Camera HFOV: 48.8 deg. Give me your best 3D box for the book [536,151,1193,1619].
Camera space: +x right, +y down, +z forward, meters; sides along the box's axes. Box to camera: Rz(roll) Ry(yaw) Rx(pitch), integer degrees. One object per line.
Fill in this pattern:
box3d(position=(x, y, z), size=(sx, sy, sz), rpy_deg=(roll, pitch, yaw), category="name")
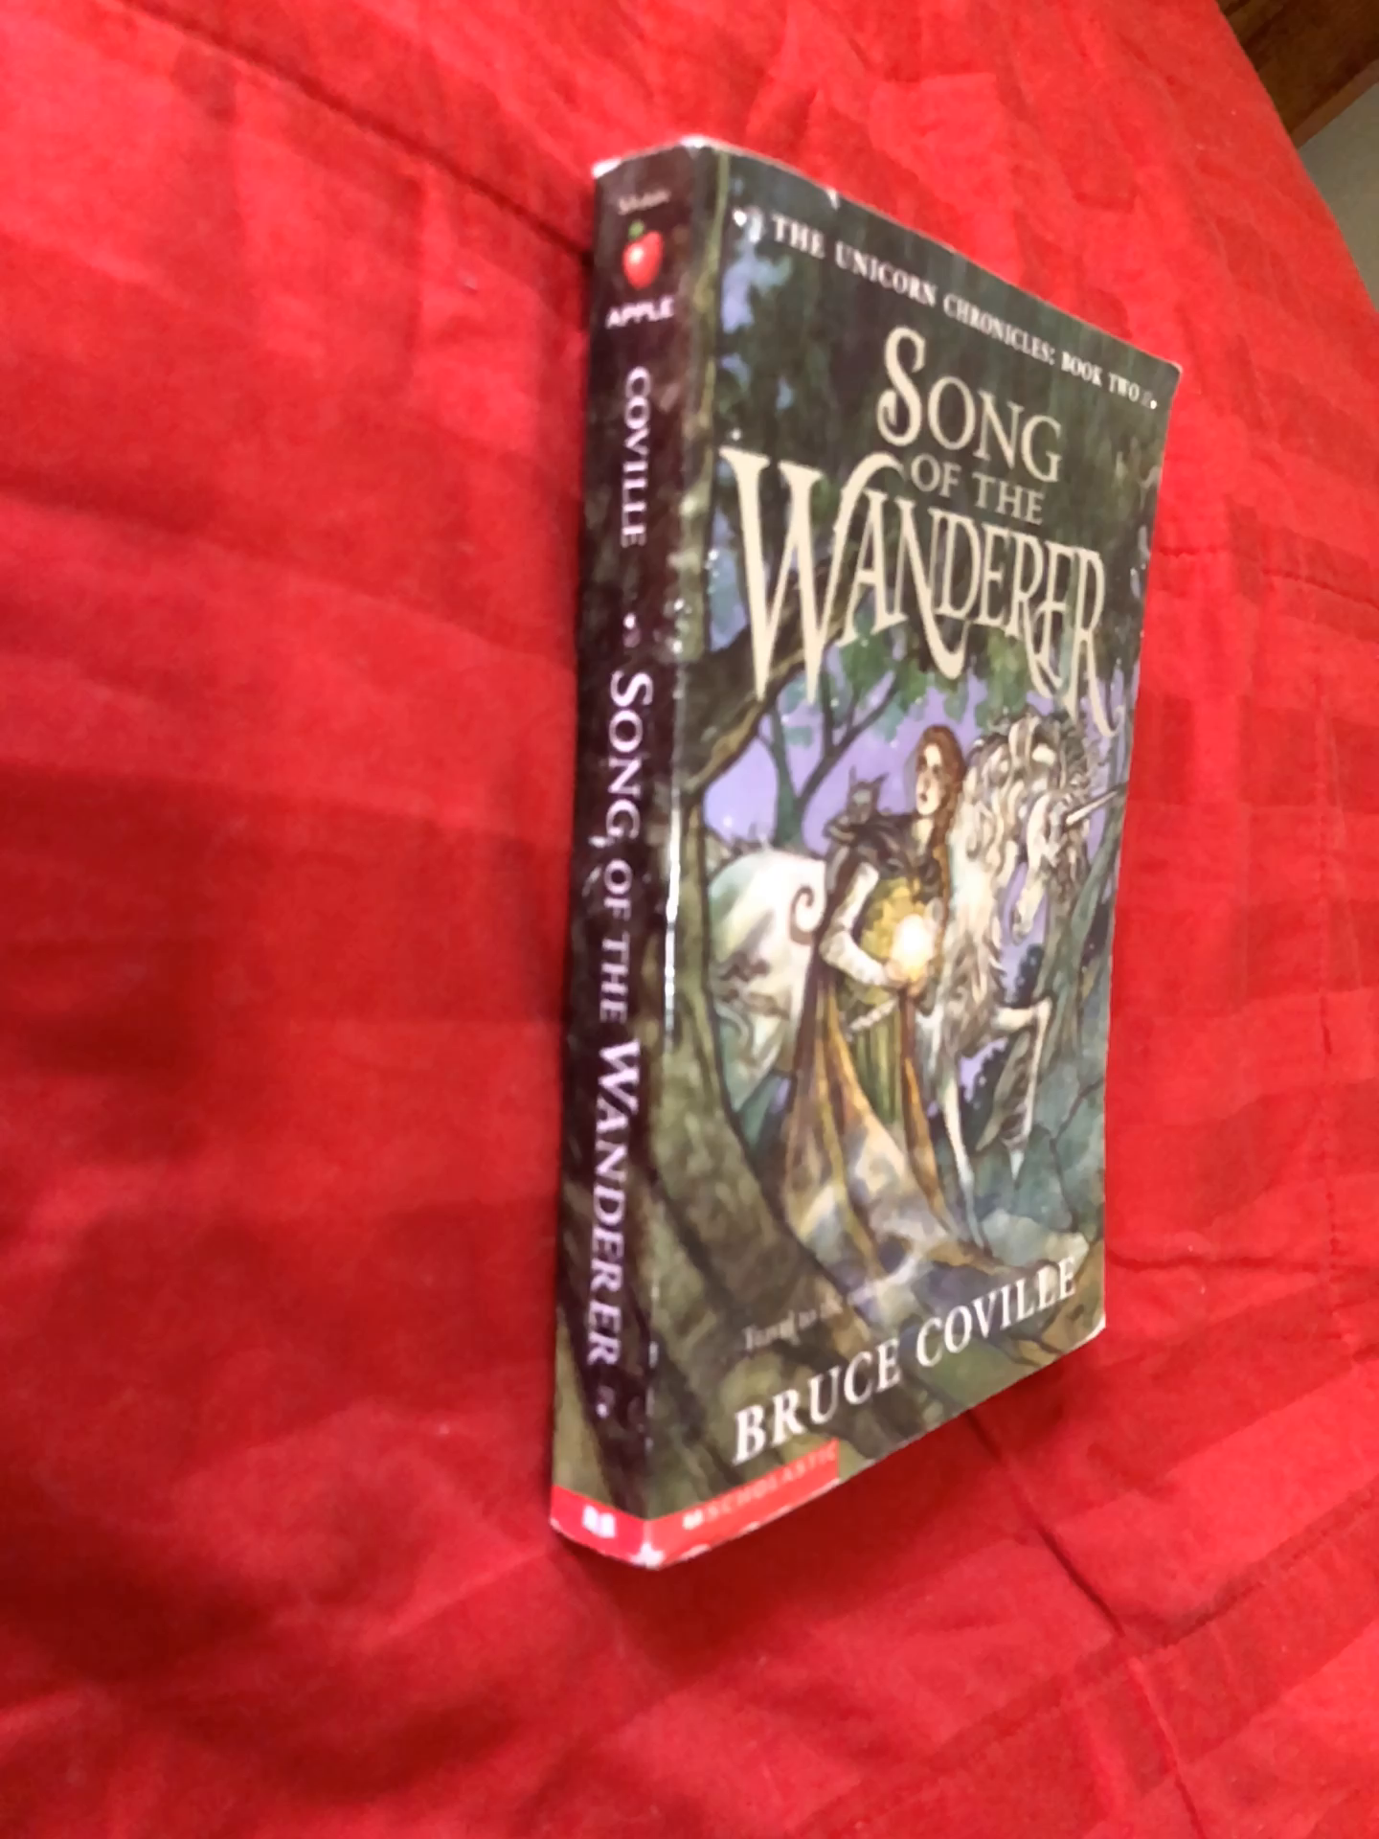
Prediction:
box3d(position=(0.035, -0.005, 0.254), size=(0.131, 0.030, 0.190), rpy_deg=(-5, 99, -47), category="book")
